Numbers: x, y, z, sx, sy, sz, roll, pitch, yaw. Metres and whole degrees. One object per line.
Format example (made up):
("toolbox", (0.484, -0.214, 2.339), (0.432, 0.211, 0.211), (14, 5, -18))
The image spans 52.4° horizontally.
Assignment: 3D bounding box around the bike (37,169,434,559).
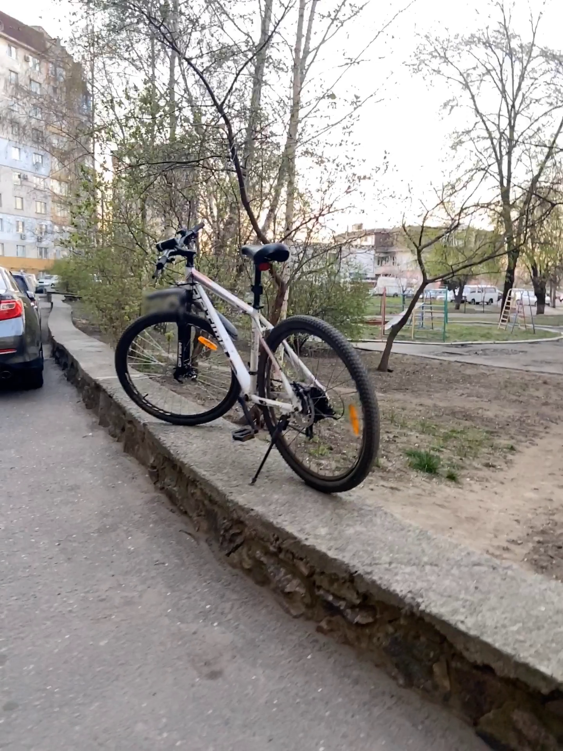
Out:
("bike", (-0.348, -0.097, 2.511), (0.679, 1.149, 1.750), (-7, 9, -44))
